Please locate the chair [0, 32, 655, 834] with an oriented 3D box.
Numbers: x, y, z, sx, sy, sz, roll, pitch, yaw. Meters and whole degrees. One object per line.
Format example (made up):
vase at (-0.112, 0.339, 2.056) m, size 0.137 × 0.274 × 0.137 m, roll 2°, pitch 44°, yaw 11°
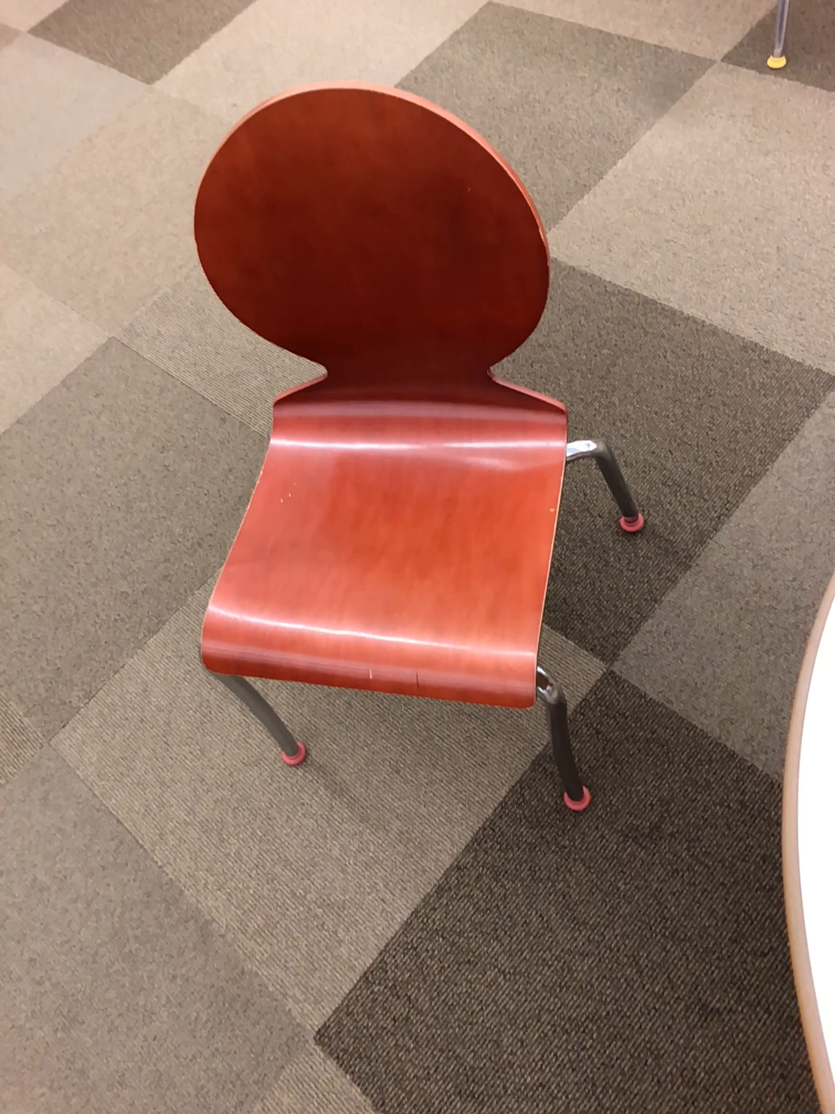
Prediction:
chair at (-0.014, -0.069, 1.024) m, size 0.489 × 0.720 × 0.488 m, roll 5°, pitch 61°, yaw 17°
